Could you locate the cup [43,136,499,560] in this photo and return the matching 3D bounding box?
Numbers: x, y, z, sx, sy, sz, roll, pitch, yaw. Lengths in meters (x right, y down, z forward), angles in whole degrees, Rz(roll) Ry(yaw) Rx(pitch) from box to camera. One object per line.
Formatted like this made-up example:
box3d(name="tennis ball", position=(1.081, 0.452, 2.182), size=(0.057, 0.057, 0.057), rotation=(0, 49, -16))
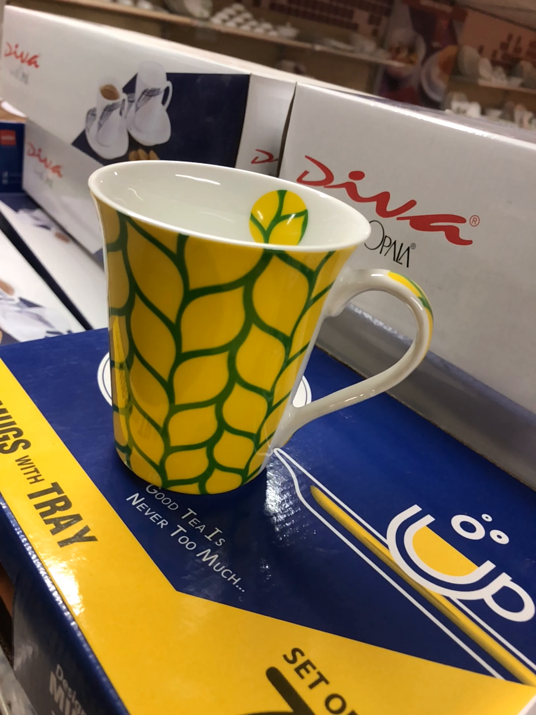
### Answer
box3d(name="cup", position=(-0.001, -0.010, 0.197), size=(0.110, 0.089, 0.080), rotation=(14, 27, 4))
